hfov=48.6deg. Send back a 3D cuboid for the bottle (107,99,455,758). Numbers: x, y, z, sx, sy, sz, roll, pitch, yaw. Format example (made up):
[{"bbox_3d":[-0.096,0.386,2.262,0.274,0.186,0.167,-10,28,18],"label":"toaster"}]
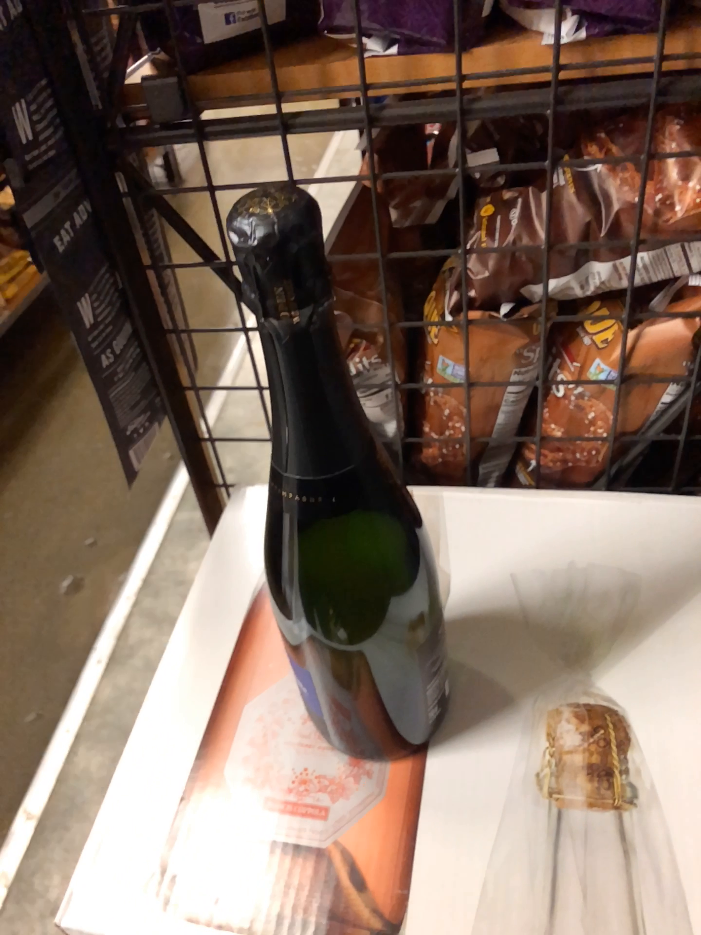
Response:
[{"bbox_3d":[-0.005,0.011,0.355,0.090,0.299,0.100,-3,42,7],"label":"bottle"}]
